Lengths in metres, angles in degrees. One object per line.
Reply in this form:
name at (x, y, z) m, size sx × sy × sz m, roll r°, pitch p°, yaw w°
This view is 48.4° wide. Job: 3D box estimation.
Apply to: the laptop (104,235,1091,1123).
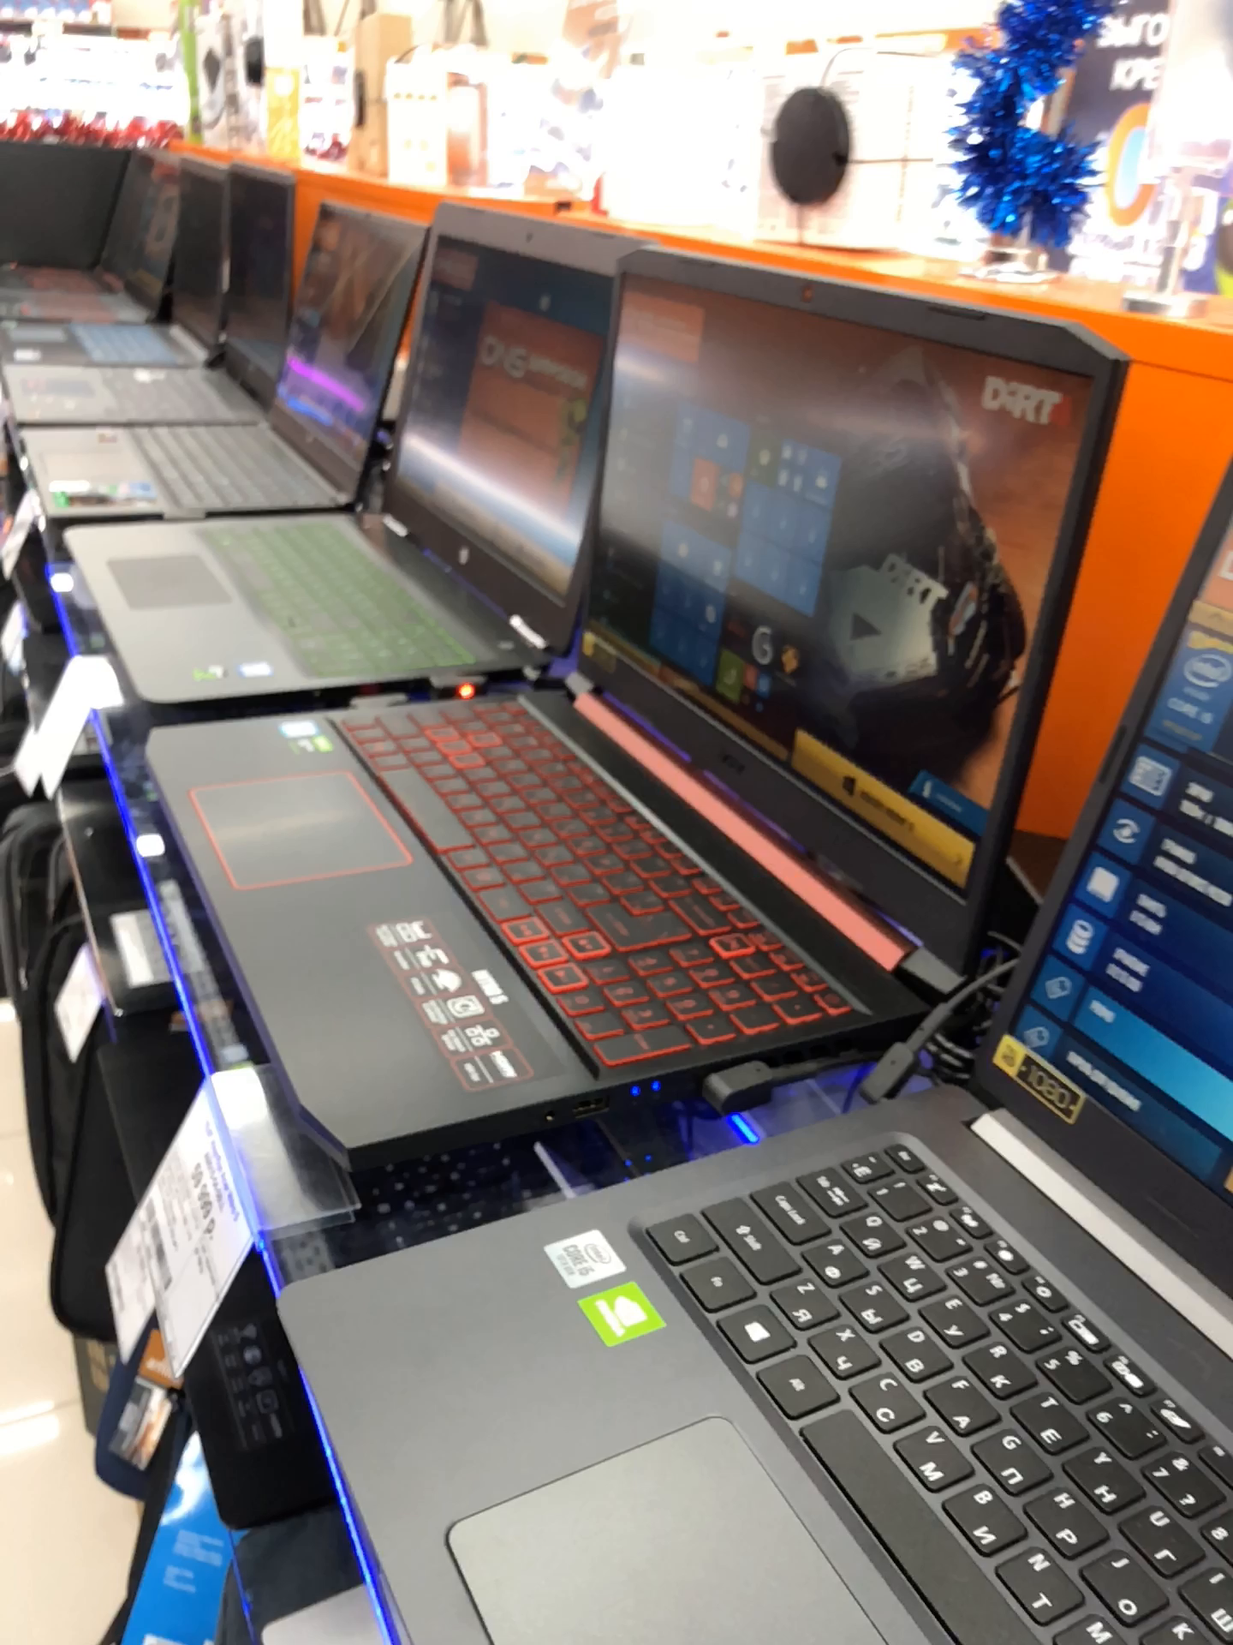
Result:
laptop at (-0.043, -0.098, 0.561) m, size 0.251 × 0.231 × 0.330 m, roll -9°, pitch 28°, yaw -26°
